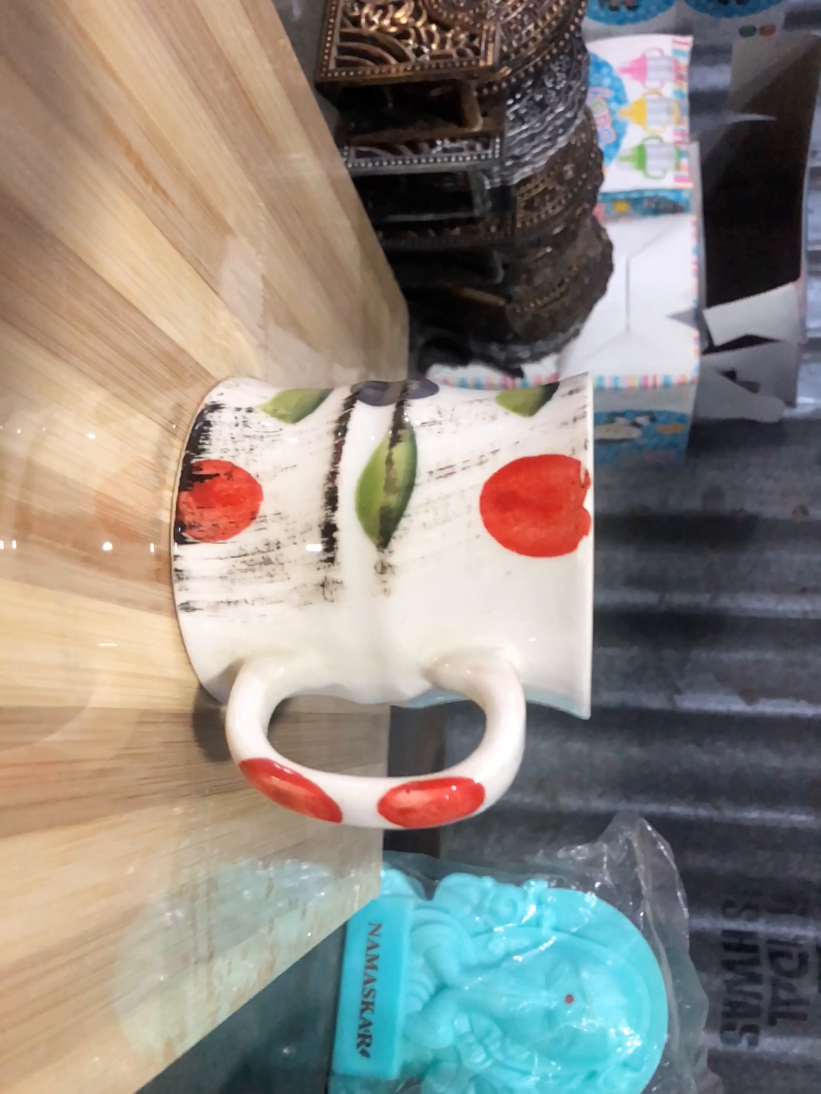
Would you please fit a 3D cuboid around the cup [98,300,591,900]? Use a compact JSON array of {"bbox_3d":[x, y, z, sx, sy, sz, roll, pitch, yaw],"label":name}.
[{"bbox_3d":[-0.003,0.012,0.196,0.060,0.080,0.110,69,24,-65],"label":"cup"}]
